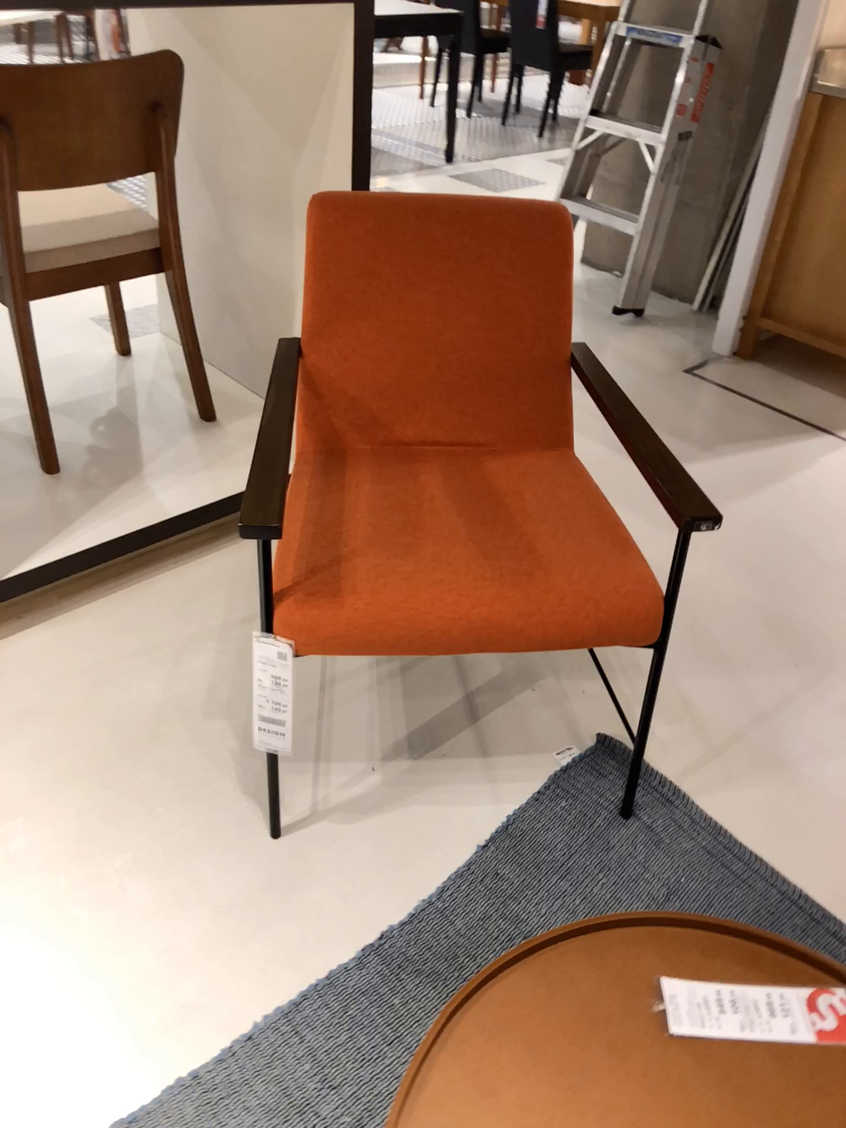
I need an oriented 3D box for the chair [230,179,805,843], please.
[{"bbox_3d":[0.055,-0.108,1.549,0.650,0.824,0.705,-1,36,-7],"label":"chair"}]
